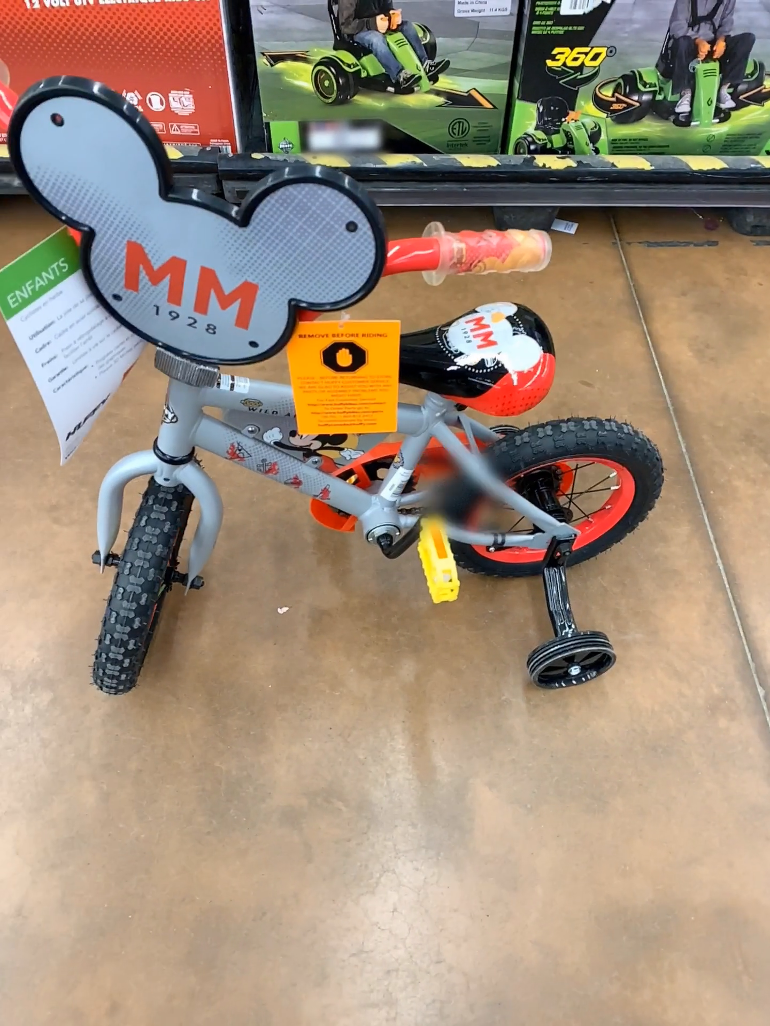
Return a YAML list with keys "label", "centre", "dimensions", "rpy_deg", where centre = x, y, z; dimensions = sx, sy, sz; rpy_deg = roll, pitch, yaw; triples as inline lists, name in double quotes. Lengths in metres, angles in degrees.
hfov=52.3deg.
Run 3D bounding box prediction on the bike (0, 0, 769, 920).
- label: "bike"
  centre: [0.015, -0.047, 0.783]
  dimensions: [0.678, 0.741, 0.450]
  rpy_deg: [-18, 54, -12]
